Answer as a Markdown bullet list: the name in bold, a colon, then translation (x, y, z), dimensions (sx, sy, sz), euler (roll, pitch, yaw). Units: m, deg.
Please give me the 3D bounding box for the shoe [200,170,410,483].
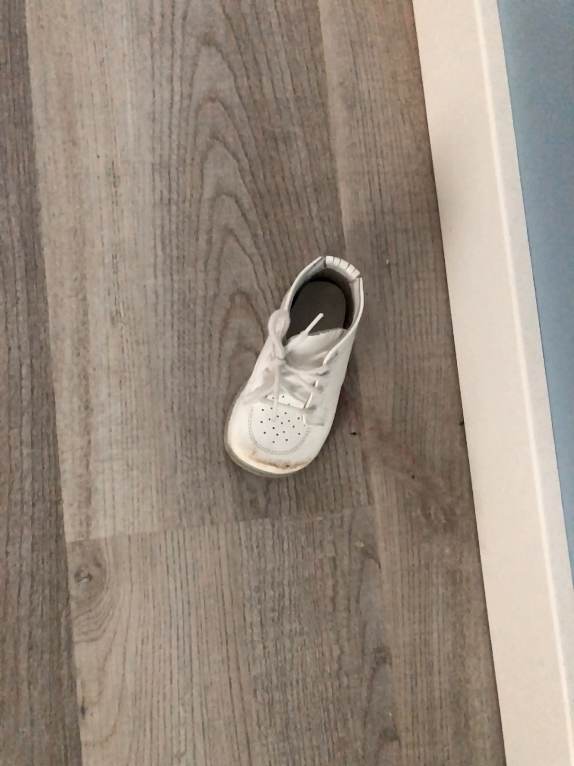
- **shoe**: translation (0.008, -0.027, 0.353), dimensions (0.060, 0.060, 0.150), euler (21, 82, -4)
